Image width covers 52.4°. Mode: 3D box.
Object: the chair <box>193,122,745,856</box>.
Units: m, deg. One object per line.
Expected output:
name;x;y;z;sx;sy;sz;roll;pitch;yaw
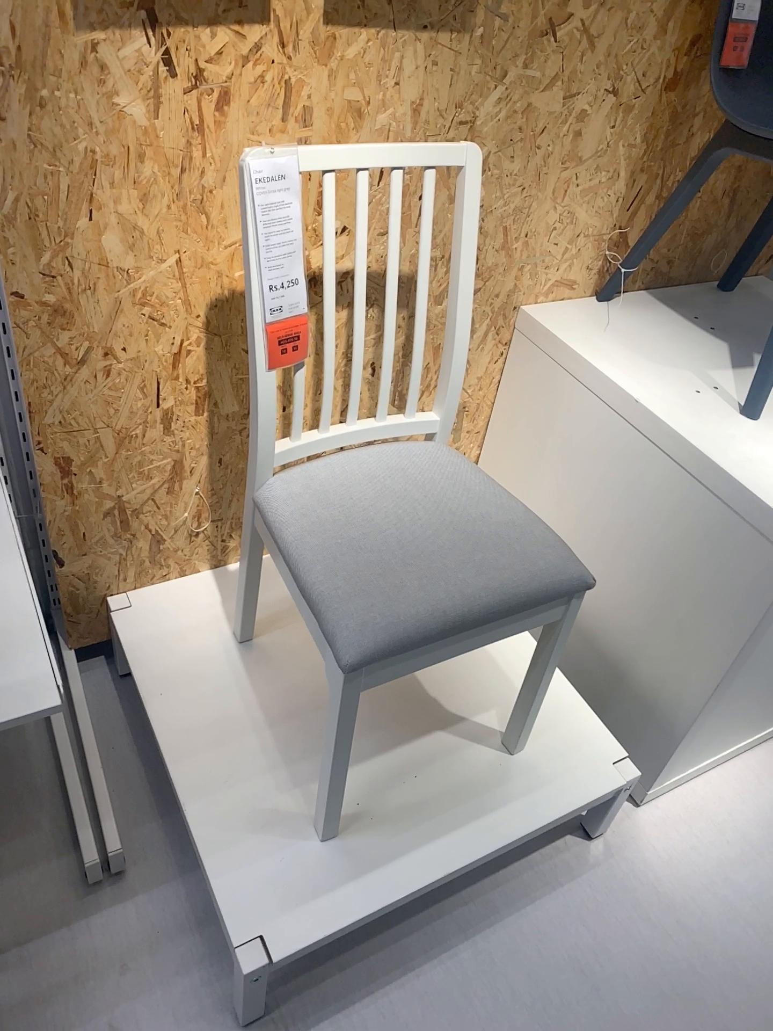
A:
chair;0.010;-0.016;1.211;0.451;0.956;0.491;-14;46;-26
